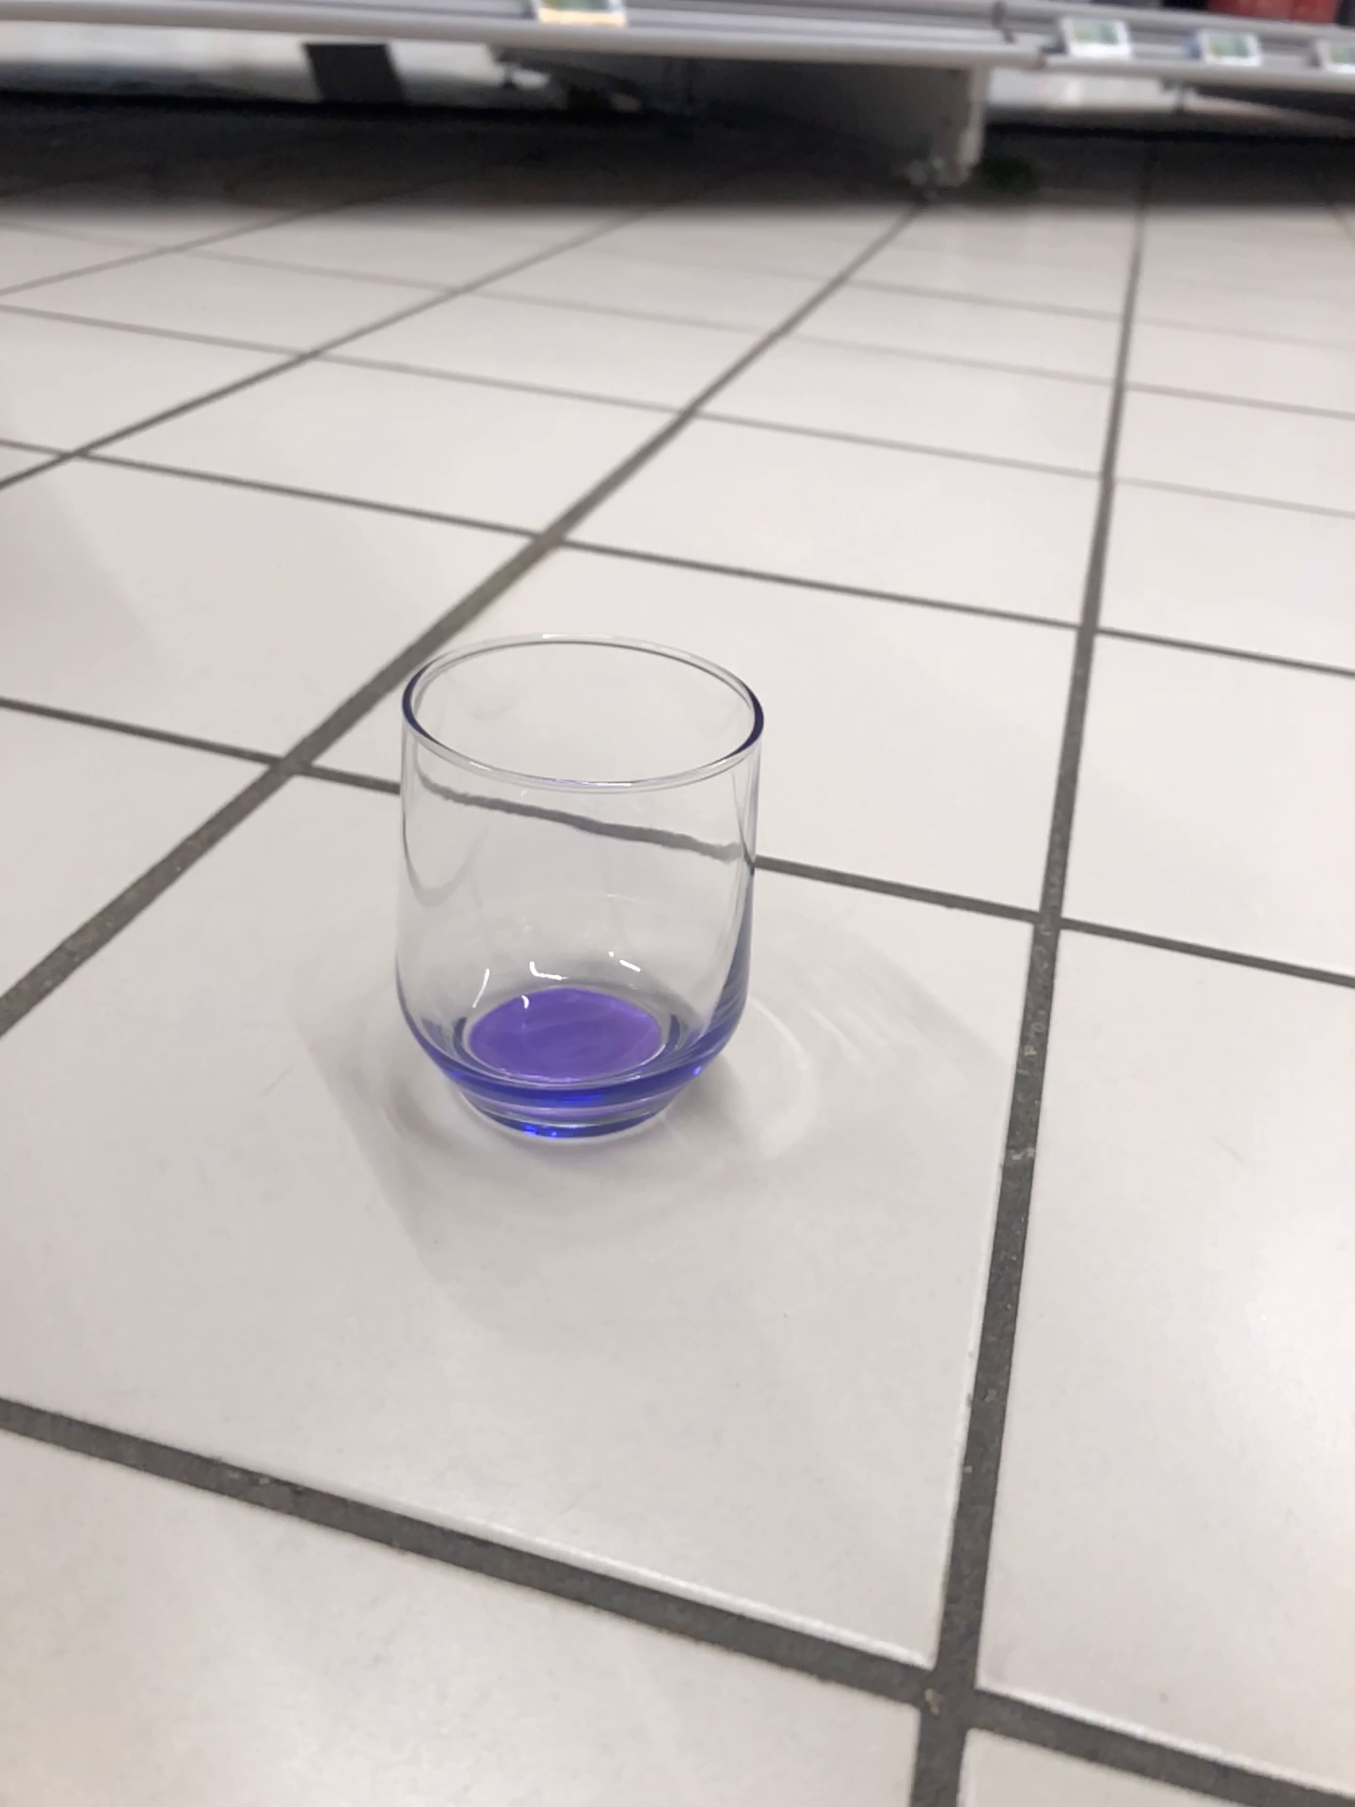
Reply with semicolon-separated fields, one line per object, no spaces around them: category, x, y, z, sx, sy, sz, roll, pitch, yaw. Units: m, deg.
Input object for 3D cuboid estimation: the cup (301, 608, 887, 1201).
cup;-0.016;-0.005;0.269;0.070;0.063;0.070;4;32;-2
